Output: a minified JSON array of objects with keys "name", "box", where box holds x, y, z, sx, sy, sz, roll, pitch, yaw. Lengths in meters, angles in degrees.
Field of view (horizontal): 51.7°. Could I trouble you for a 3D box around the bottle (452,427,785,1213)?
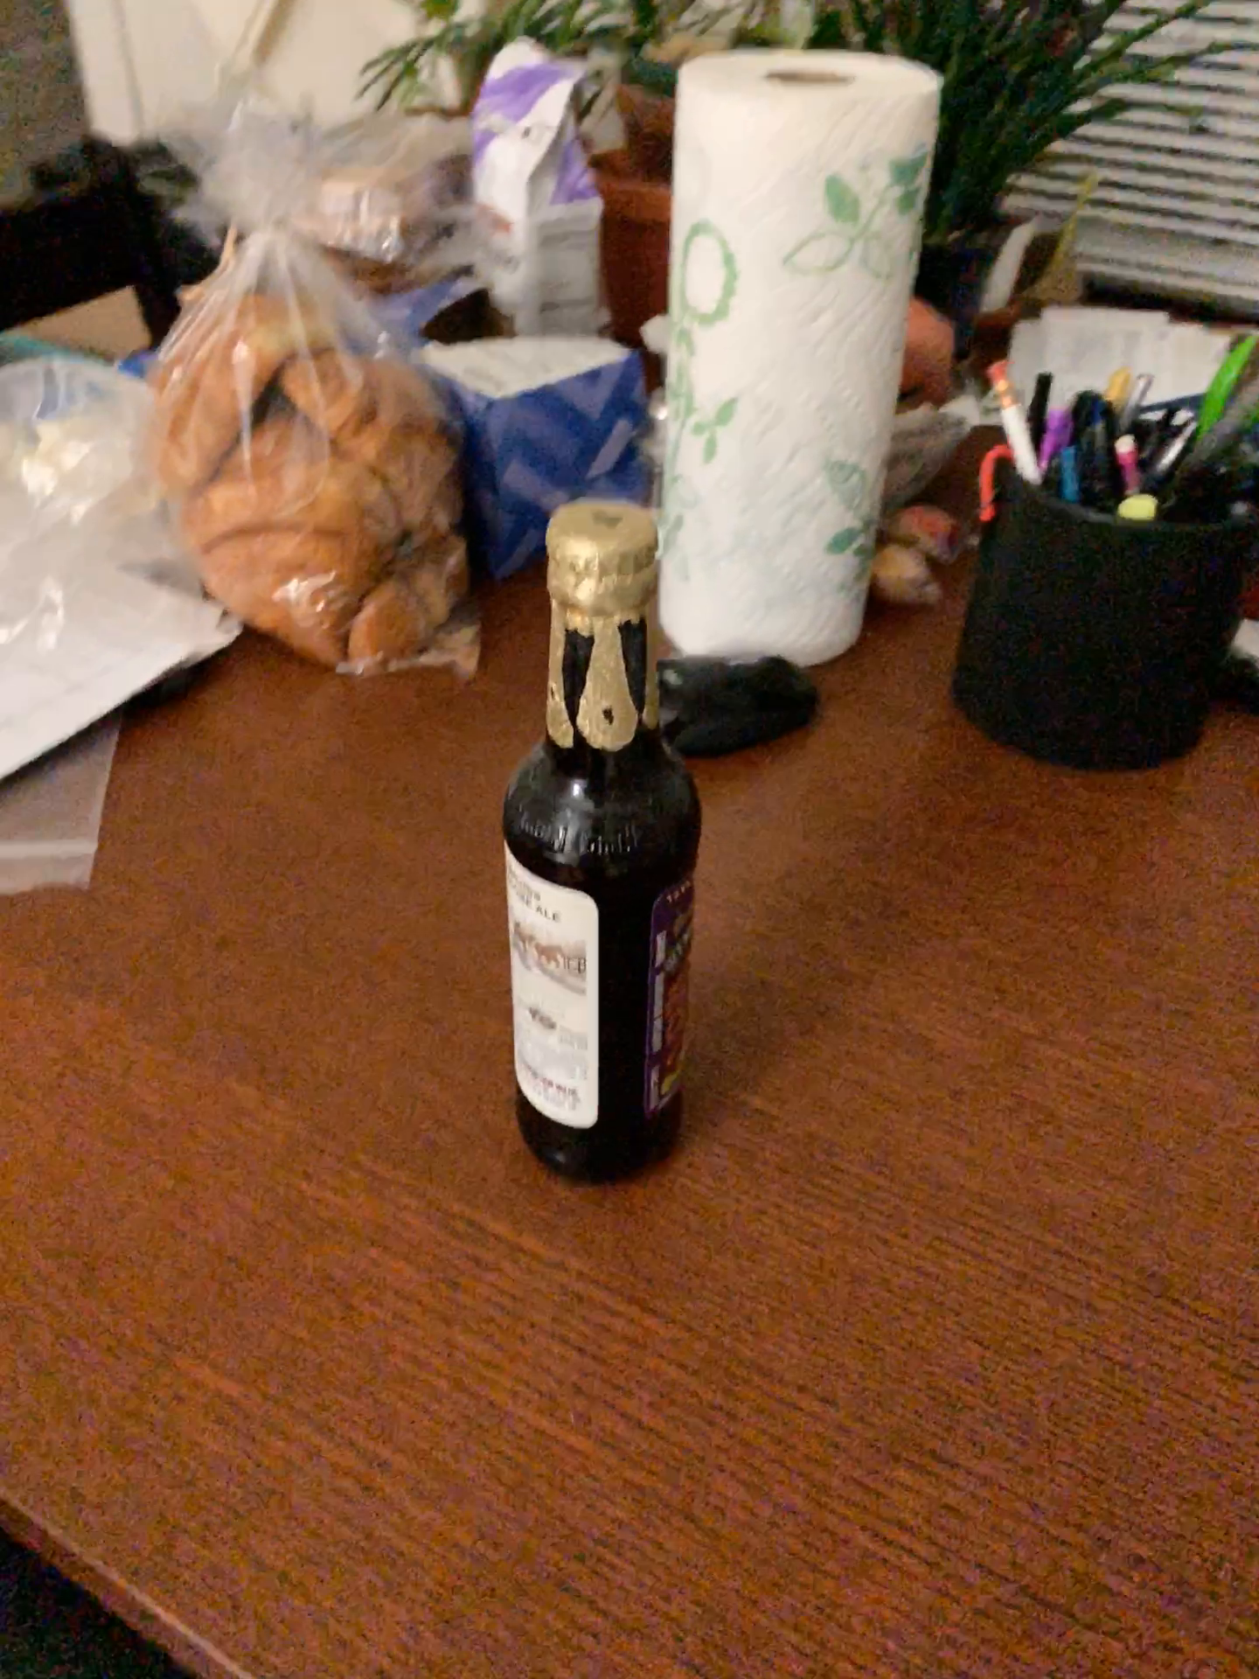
[{"name":"bottle","box":[-0.002,0.007,0.382,0.070,0.229,0.070,1,39,-1]}]
